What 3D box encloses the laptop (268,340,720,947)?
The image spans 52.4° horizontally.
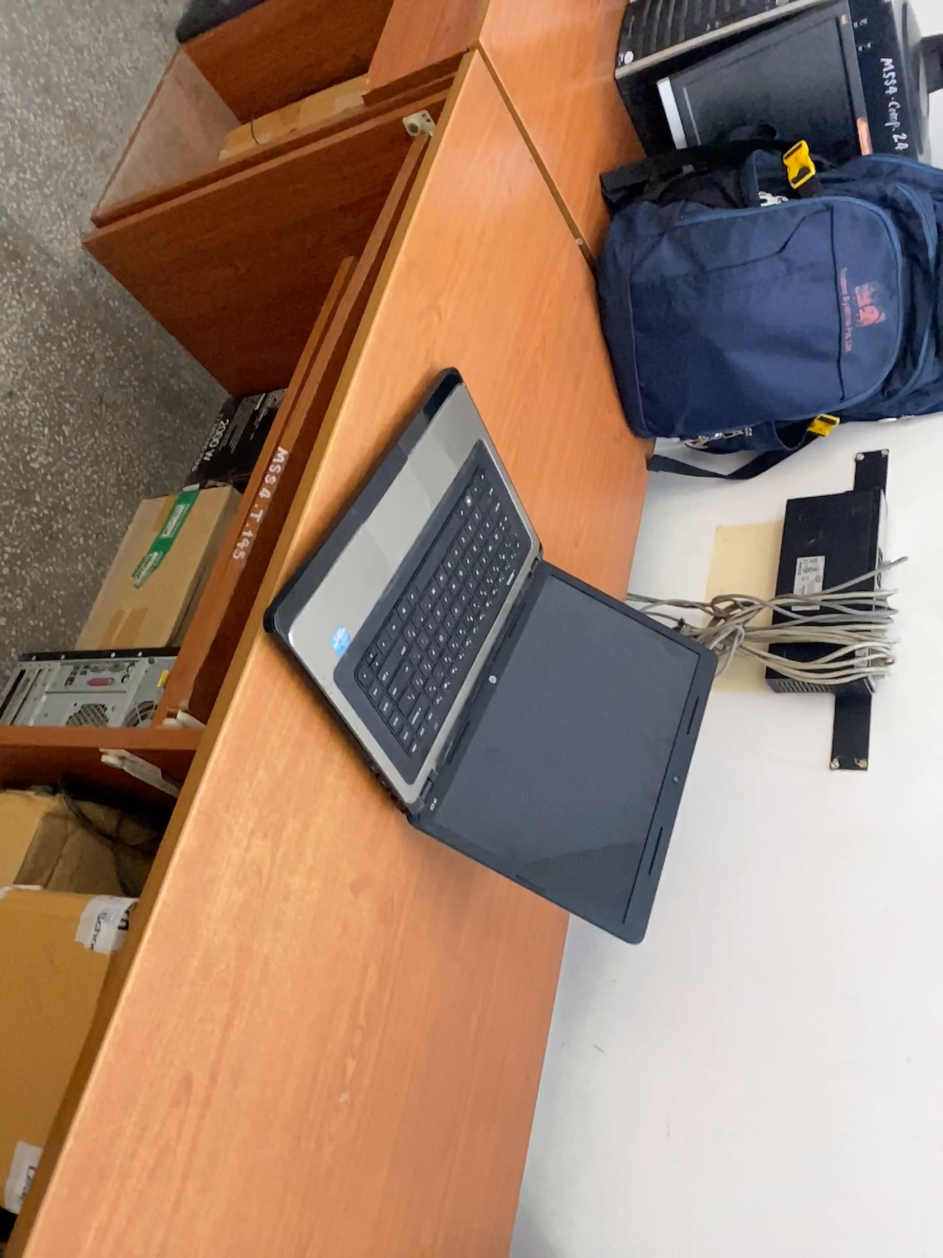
[{"bbox_3d":[0.069,0.017,0.938,0.427,0.158,0.384,61,41,-34],"label":"laptop"}]
